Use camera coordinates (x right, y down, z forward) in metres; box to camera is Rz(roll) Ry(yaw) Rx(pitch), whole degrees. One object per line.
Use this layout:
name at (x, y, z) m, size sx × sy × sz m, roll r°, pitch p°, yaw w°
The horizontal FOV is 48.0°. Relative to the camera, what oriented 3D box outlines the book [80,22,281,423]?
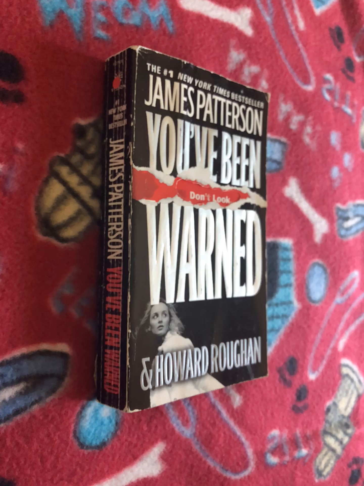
book at (0.004, -0.008, 0.244) m, size 0.110 × 0.040 × 0.190 m, roll 2°, pitch 91°, yaw -41°
